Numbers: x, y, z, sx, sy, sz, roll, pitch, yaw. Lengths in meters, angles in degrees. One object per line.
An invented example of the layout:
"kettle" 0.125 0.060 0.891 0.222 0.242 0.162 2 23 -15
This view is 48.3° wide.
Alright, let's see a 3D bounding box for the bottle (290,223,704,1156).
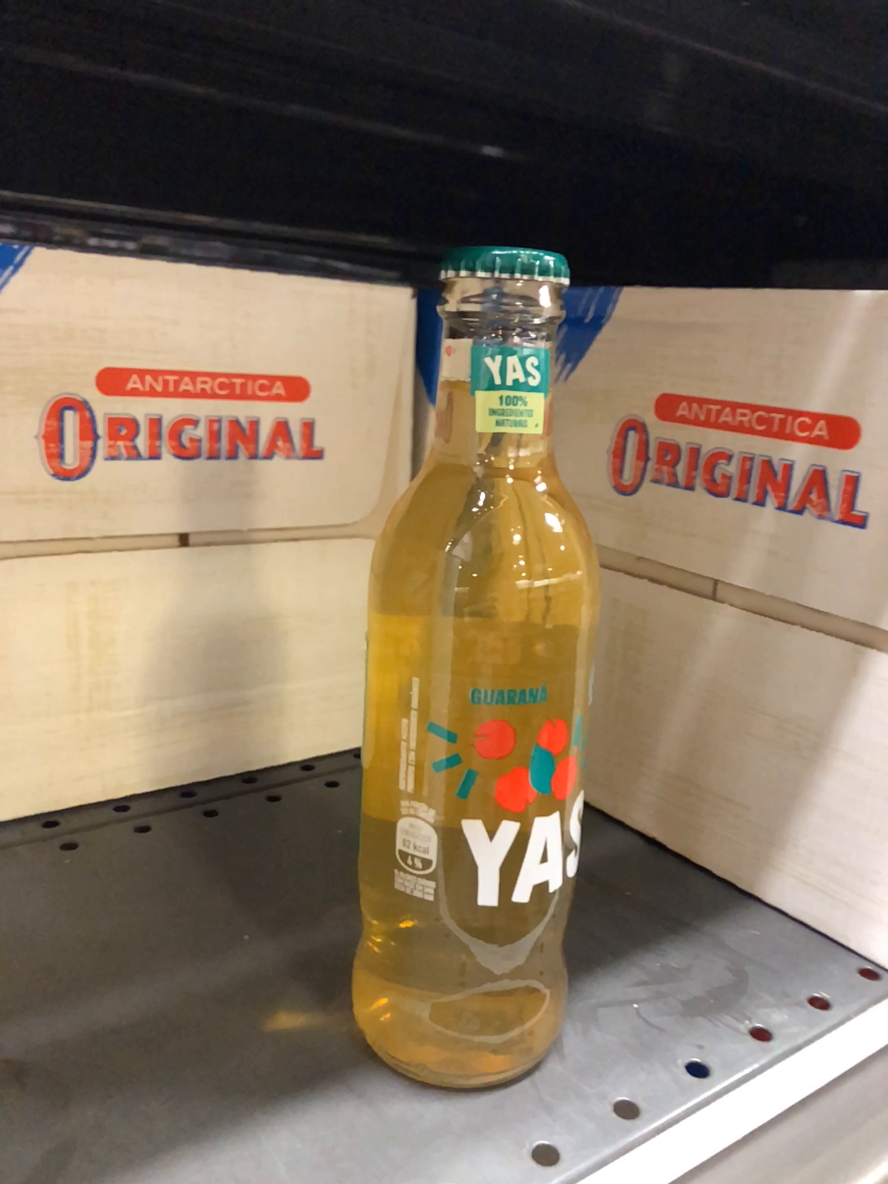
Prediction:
"bottle" 0.007 0.020 0.240 0.060 0.199 0.060 4 14 -1
